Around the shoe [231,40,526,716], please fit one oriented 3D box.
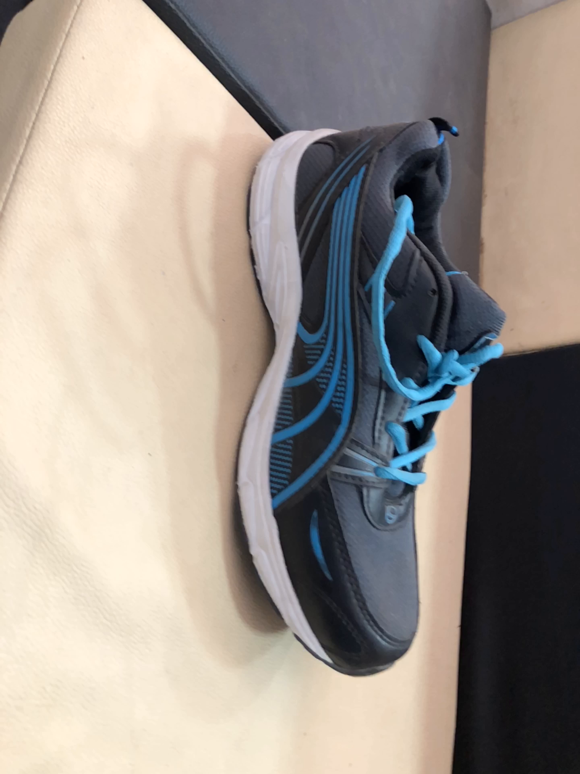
[{"bbox_3d":[0.045,-0.004,0.321,0.101,0.099,0.270,14,73,-53],"label":"shoe"}]
